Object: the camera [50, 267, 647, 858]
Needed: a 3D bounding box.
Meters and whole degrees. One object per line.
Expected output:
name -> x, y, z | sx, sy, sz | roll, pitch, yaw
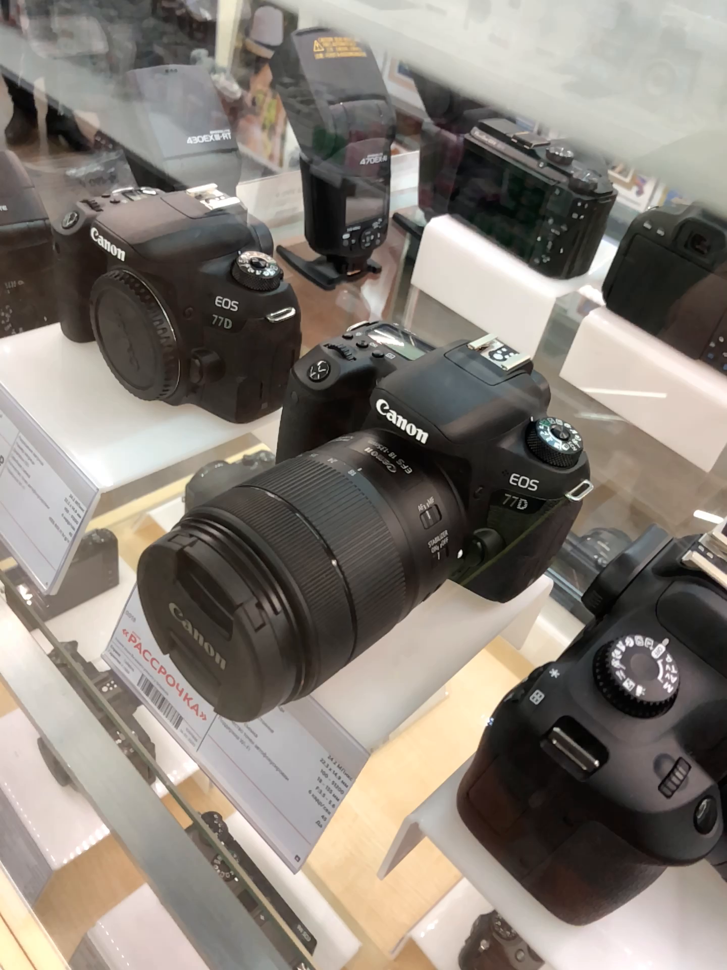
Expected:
camera -> -0.007, 0.015, 0.320 | 0.132, 0.119, 0.168 | 38, 47, 26
